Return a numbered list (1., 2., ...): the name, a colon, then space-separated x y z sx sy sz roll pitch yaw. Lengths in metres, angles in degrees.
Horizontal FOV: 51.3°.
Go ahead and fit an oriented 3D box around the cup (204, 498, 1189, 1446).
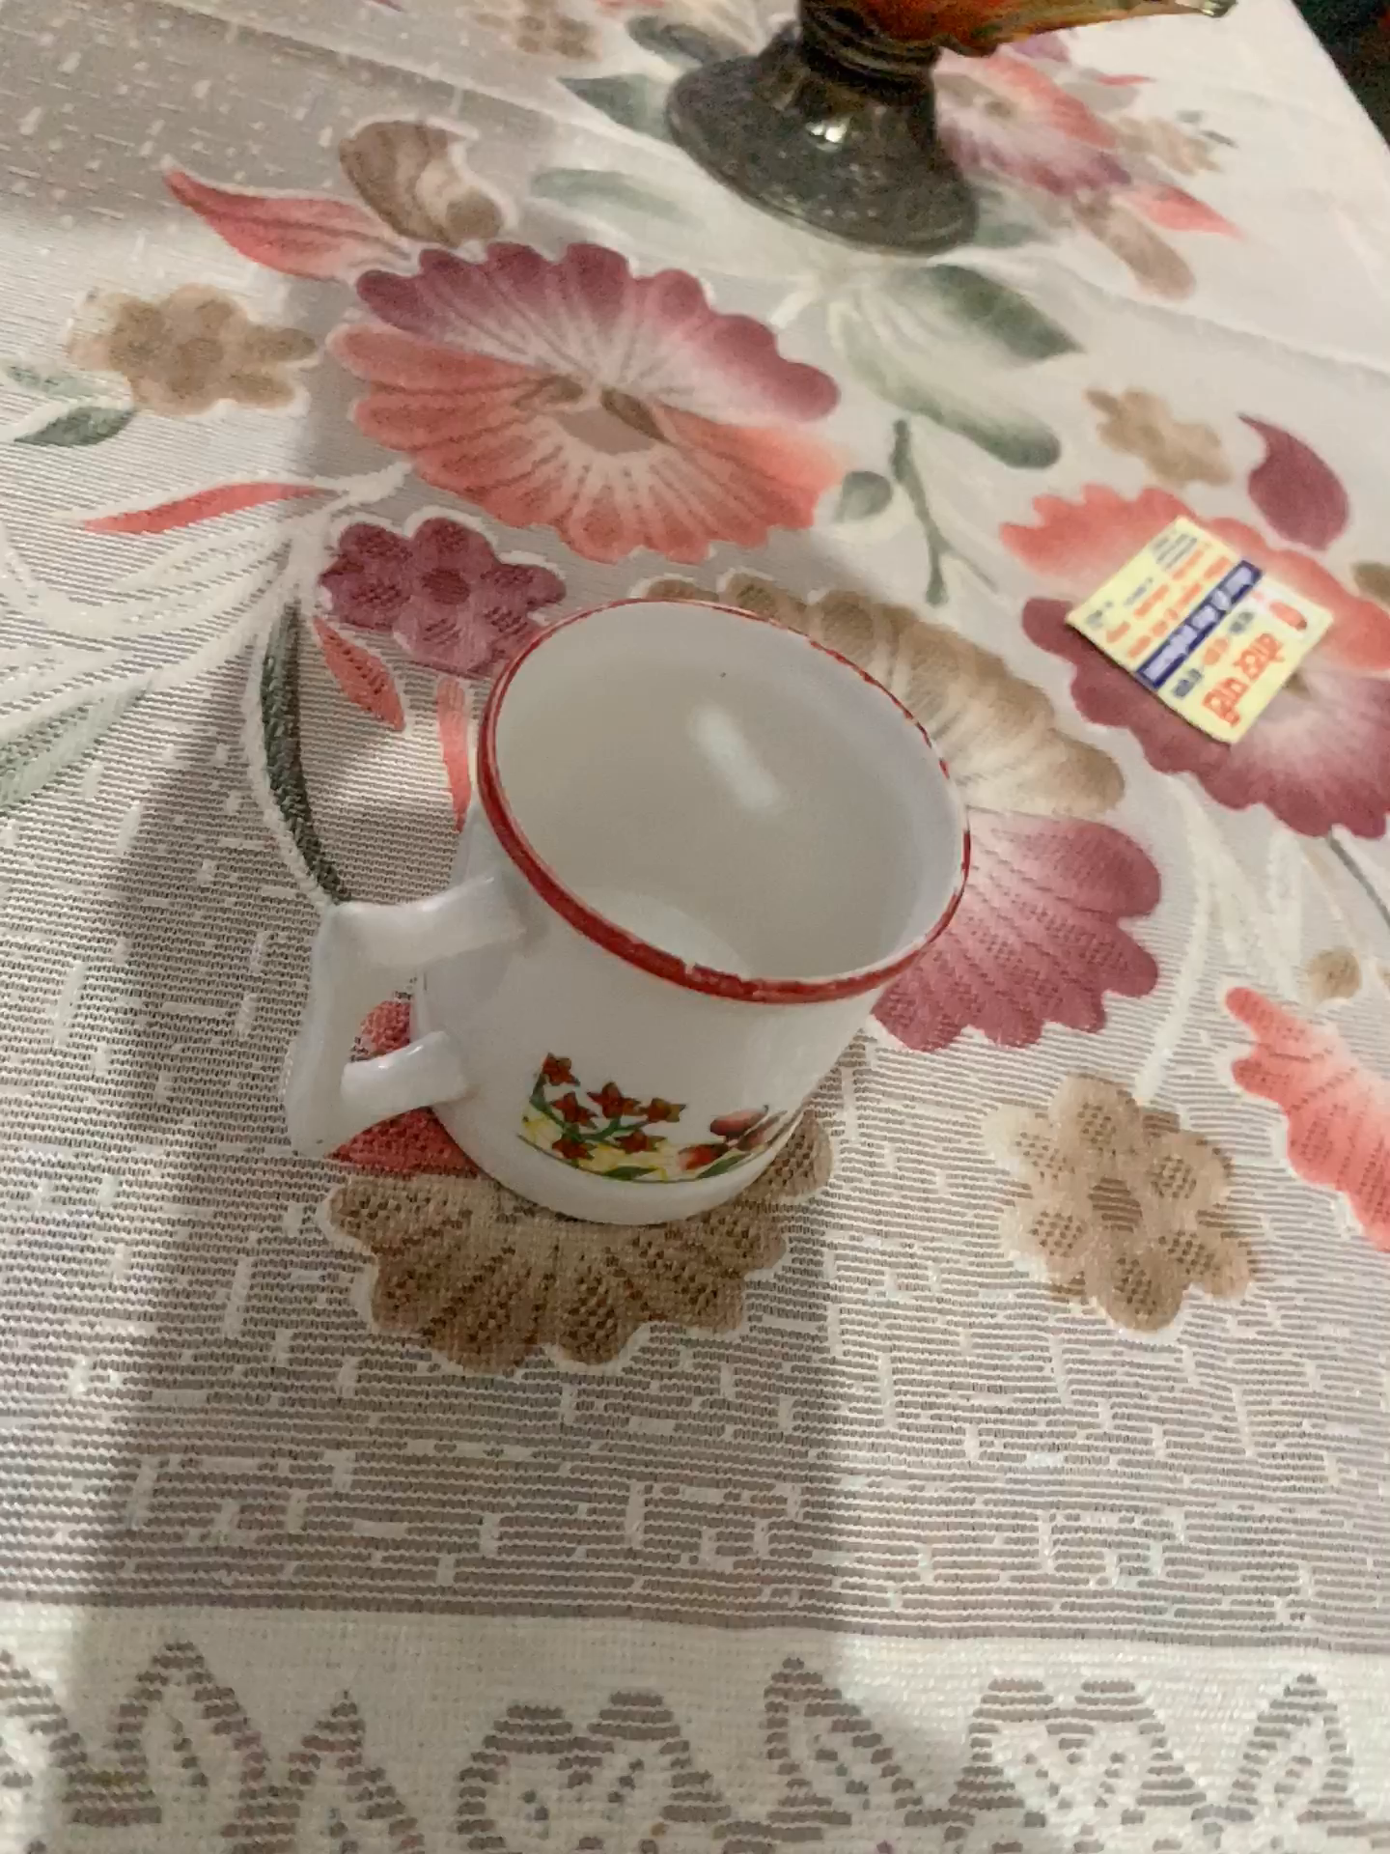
1. cup: -0.004 0.003 0.205 0.100 0.080 0.070 -26 66 -35
